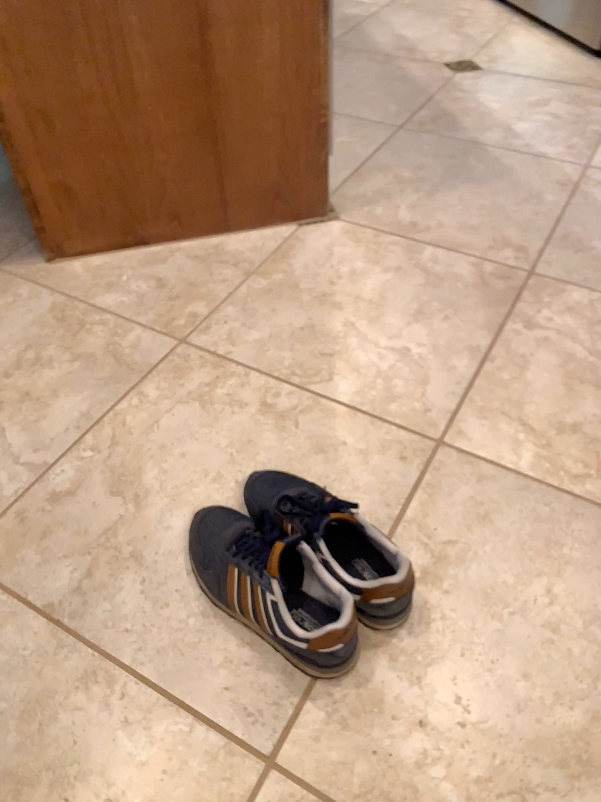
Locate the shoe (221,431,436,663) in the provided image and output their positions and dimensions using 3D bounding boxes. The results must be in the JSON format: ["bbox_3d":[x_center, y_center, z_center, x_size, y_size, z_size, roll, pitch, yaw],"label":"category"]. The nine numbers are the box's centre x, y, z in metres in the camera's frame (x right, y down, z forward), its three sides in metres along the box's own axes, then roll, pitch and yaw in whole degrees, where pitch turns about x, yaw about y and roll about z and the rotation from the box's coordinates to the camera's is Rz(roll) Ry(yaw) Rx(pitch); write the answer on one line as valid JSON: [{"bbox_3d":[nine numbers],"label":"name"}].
[{"bbox_3d":[0.028,0.180,0.816,0.106,0.102,0.283,-33,54,-25],"label":"shoe"}]

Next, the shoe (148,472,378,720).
[{"bbox_3d":[-0.051,0.230,0.774,0.112,0.102,0.283,-36,55,-28],"label":"shoe"}]
